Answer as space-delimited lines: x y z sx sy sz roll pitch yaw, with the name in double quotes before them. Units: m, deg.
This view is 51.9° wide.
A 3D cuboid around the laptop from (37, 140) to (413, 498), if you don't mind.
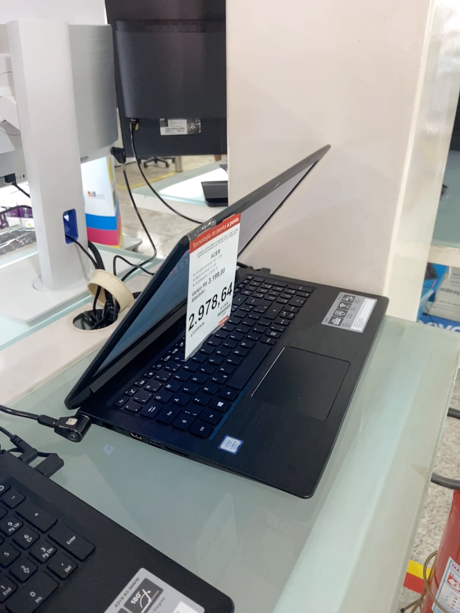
"laptop" 0.036 -0.041 0.517 0.234 0.193 0.369 13 32 23
